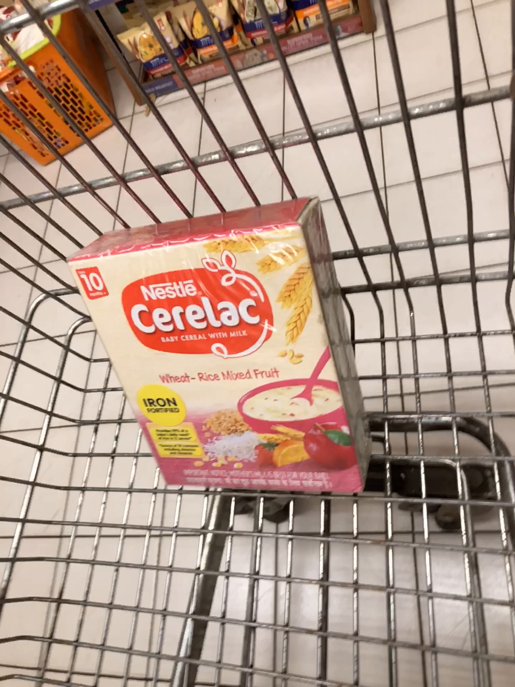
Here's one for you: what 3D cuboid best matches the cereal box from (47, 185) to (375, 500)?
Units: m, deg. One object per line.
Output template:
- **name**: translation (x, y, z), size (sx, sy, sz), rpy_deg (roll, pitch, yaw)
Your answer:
- **cereal box**: translation (-0.019, 0.010, 0.360), size (0.150, 0.179, 0.060), rpy_deg (-5, 30, 22)
